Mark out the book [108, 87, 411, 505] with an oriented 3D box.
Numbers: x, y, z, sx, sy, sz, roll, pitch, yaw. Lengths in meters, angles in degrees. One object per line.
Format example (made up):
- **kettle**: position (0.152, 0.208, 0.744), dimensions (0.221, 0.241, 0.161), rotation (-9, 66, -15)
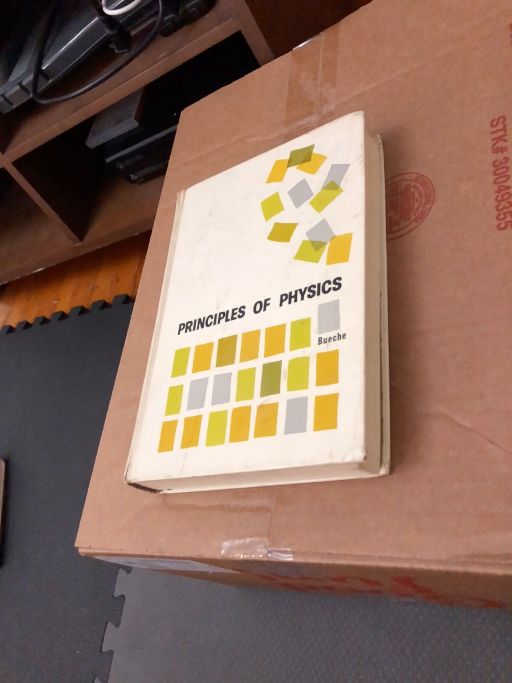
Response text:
- **book**: position (0.004, -0.027, 0.371), dimensions (0.180, 0.040, 0.251), rotation (-14, 57, 34)
